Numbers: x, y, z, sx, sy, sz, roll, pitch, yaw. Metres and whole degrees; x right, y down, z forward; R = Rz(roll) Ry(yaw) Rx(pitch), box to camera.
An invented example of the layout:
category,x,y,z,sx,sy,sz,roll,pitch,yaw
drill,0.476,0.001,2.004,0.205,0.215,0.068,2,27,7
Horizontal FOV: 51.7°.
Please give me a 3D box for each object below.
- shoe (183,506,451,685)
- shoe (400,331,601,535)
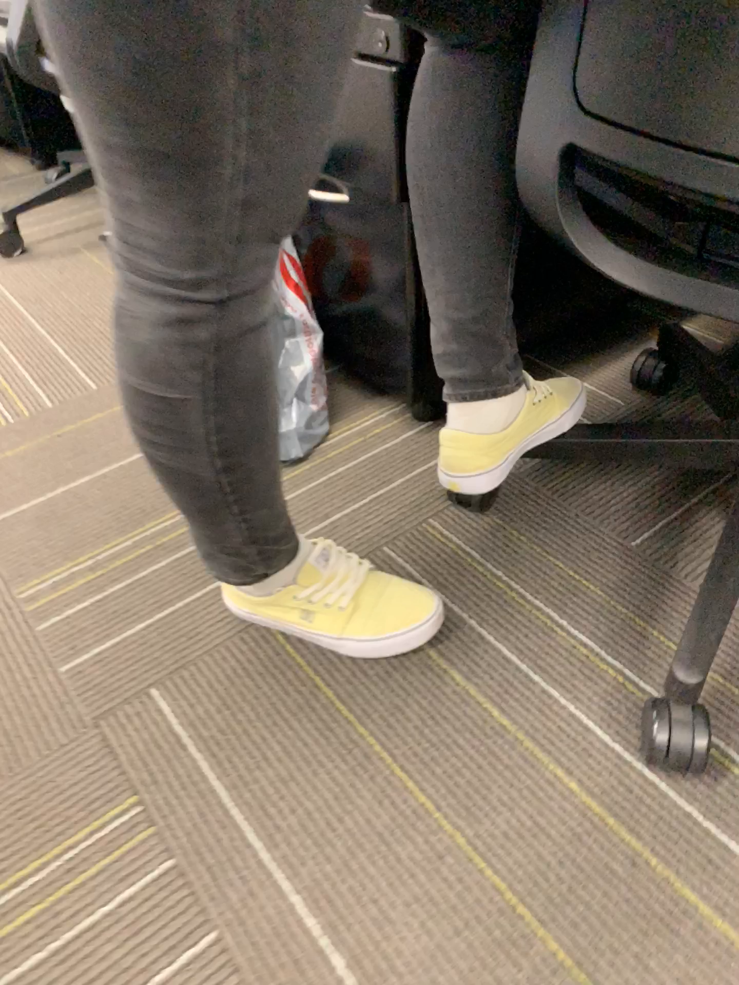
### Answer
category,x,y,z,sx,sy,sz,roll,pitch,yaw
shoe,-0.053,0.109,0.847,0.269,0.101,0.102,10,43,17
shoe,0.156,-0.078,0.891,0.099,0.096,0.260,27,50,31
